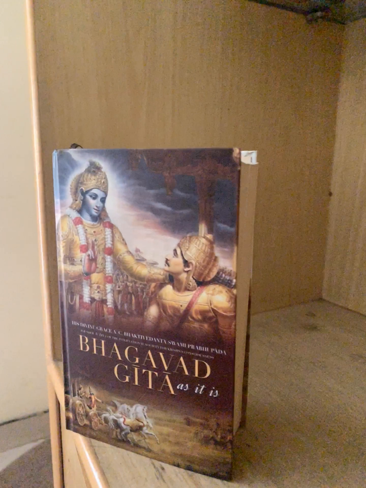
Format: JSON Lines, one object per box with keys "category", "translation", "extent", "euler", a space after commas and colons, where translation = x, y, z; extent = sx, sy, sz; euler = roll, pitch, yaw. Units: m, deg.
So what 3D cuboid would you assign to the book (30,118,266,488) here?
{"category": "book", "translation": [-0.024, 0.032, 0.271], "extent": [0.140, 0.219, 0.070], "euler": [5, 10, 22]}
